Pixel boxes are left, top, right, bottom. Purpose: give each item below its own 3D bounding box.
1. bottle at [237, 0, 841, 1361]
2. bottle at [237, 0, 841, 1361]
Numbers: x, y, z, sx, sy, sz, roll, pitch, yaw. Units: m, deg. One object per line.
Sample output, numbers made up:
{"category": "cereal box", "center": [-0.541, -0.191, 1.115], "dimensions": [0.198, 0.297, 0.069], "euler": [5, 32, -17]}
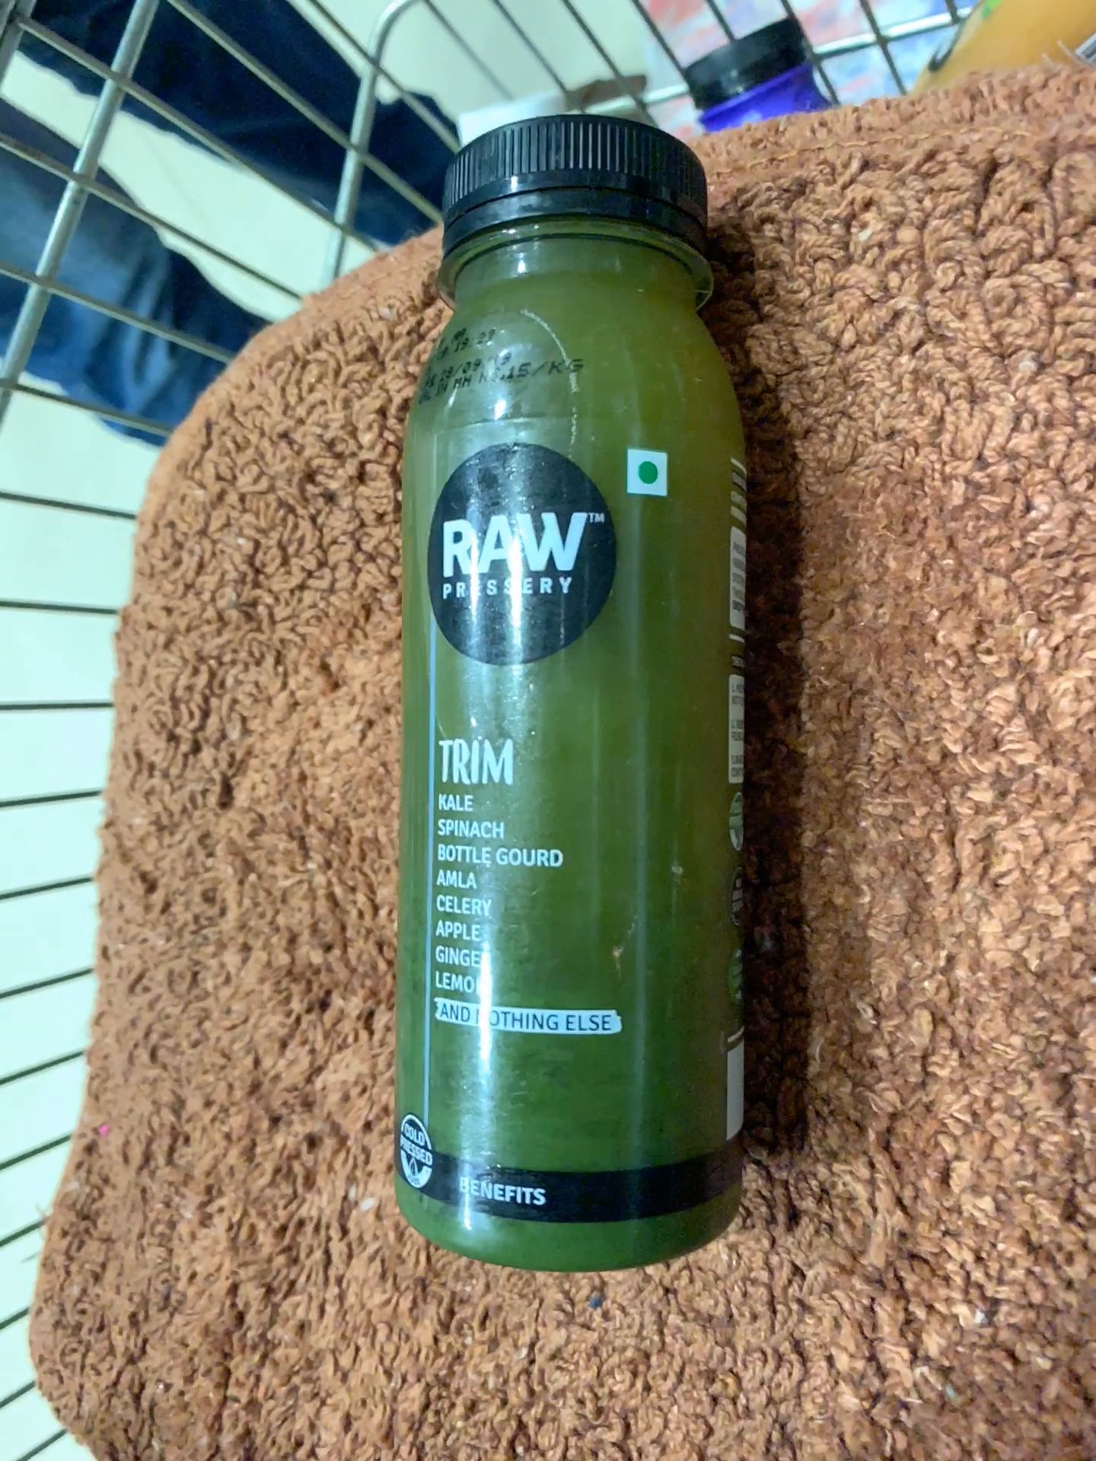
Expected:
{"category": "bottle", "center": [0.003, -0.008, 0.158], "dimensions": [0.060, 0.050, 0.150], "euler": [2, 87, 23]}
{"category": "bottle", "center": [0.003, -0.008, 0.158], "dimensions": [0.060, 0.050, 0.150], "euler": [2, 87, 23]}
